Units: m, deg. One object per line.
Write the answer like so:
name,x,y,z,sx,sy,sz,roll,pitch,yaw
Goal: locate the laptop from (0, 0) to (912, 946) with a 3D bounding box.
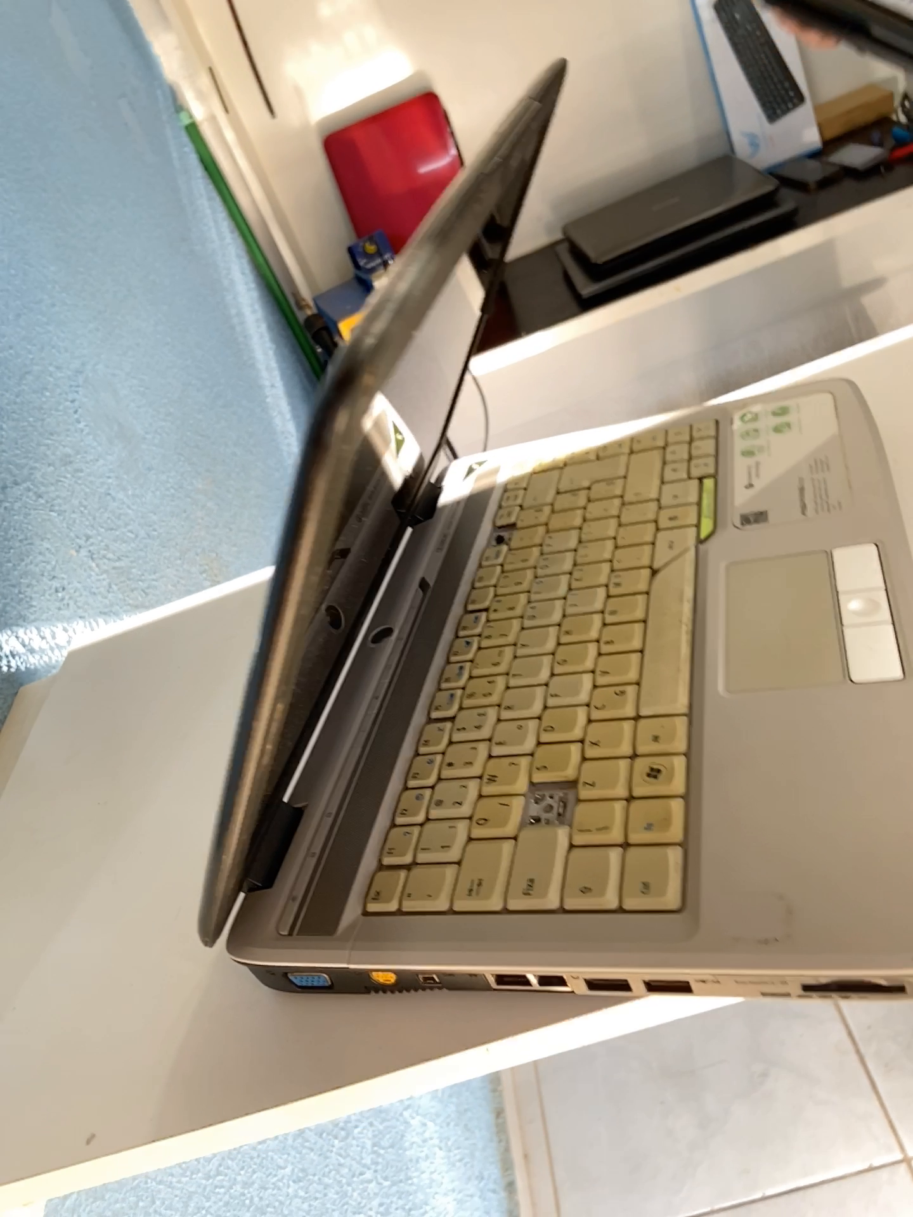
laptop,0.028,-0.070,0.361,0.225,0.180,0.330,-9,36,23
